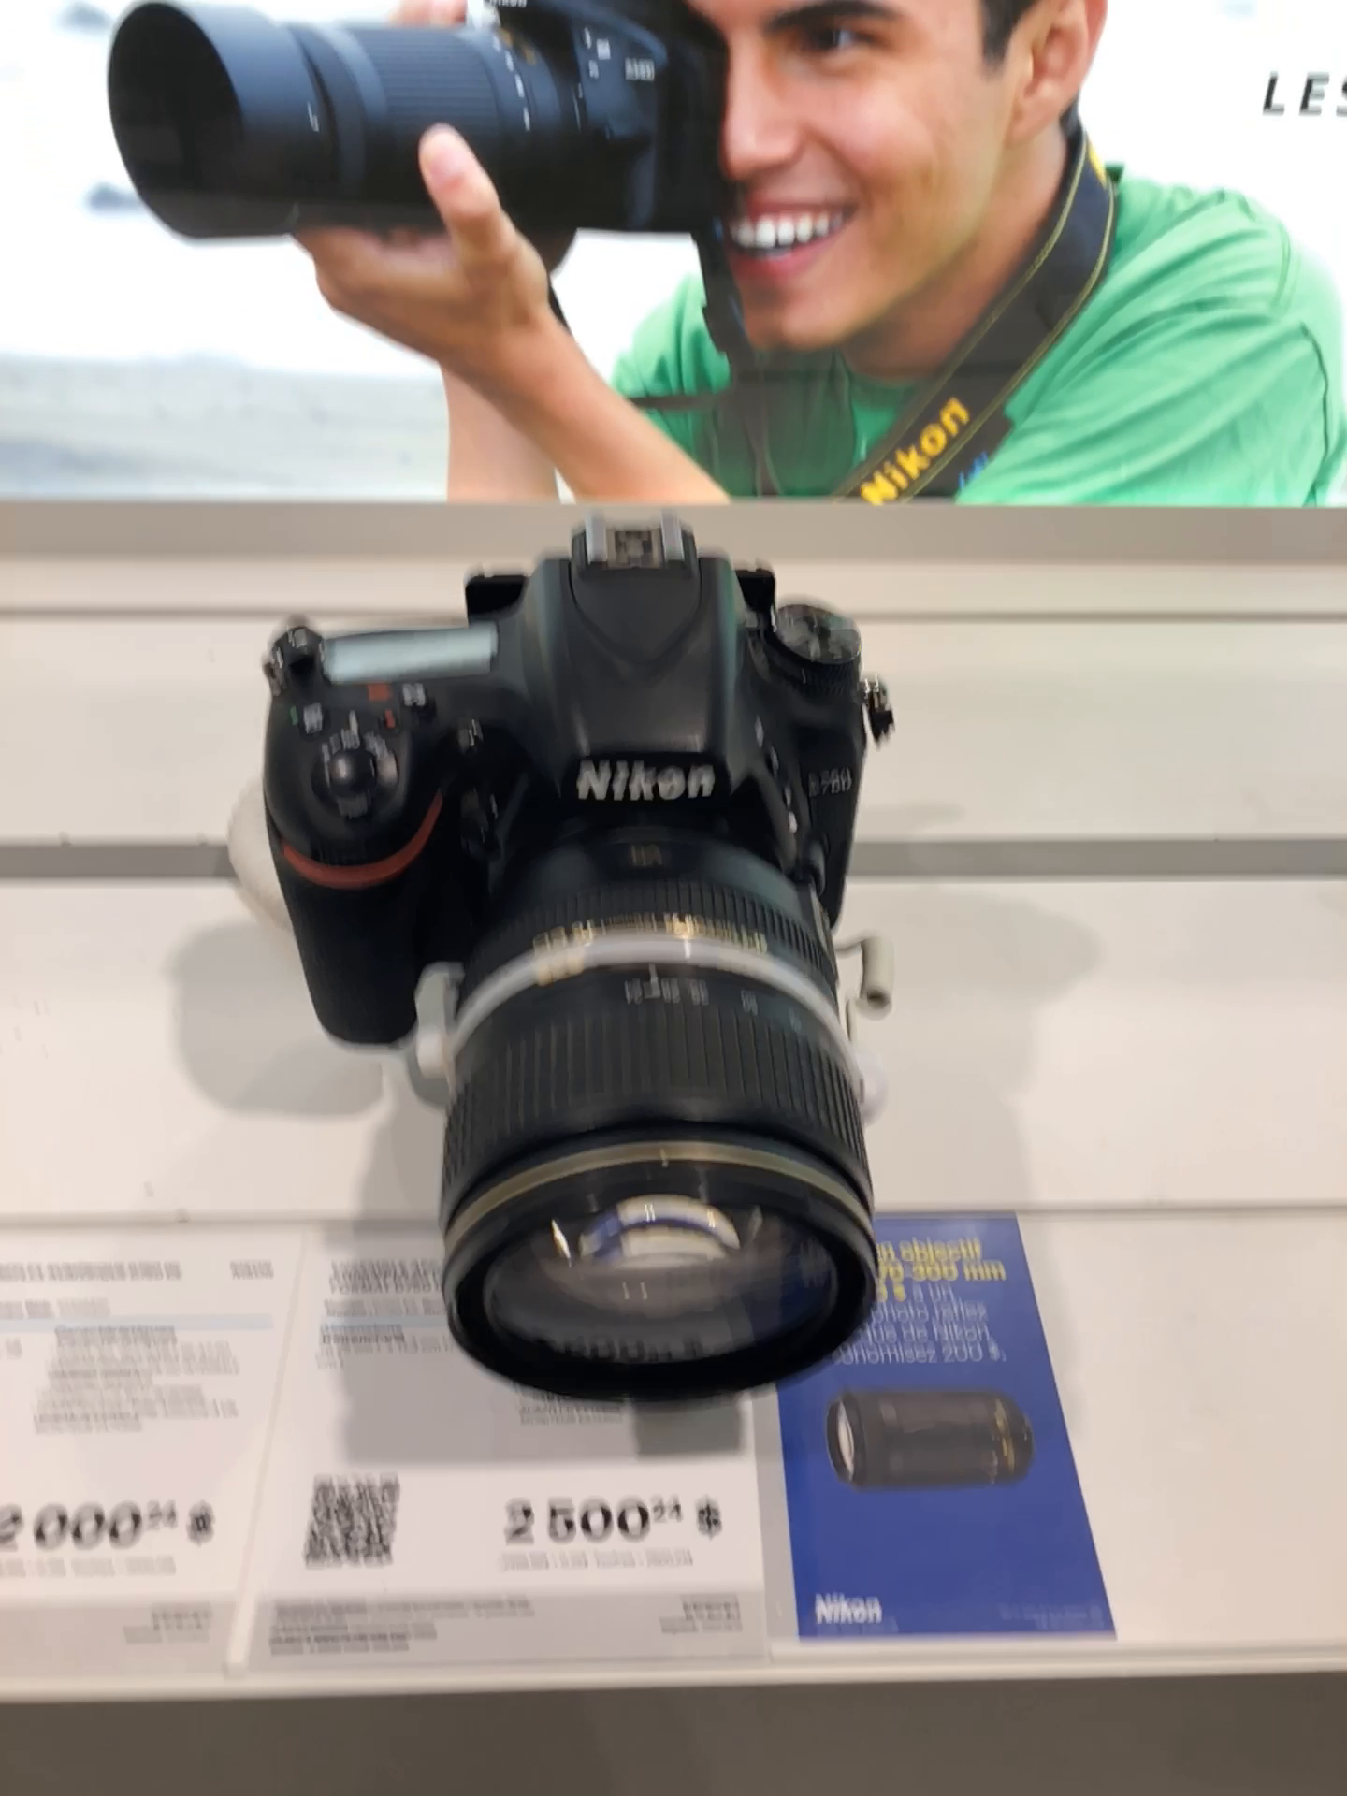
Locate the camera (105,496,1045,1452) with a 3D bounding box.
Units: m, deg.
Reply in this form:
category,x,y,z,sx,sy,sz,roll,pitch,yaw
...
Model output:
category,x,y,z,sx,sy,sz,roll,pitch,yaw
camera,-0.021,0.003,0.320,0.138,0.099,0.184,-2,42,-4
